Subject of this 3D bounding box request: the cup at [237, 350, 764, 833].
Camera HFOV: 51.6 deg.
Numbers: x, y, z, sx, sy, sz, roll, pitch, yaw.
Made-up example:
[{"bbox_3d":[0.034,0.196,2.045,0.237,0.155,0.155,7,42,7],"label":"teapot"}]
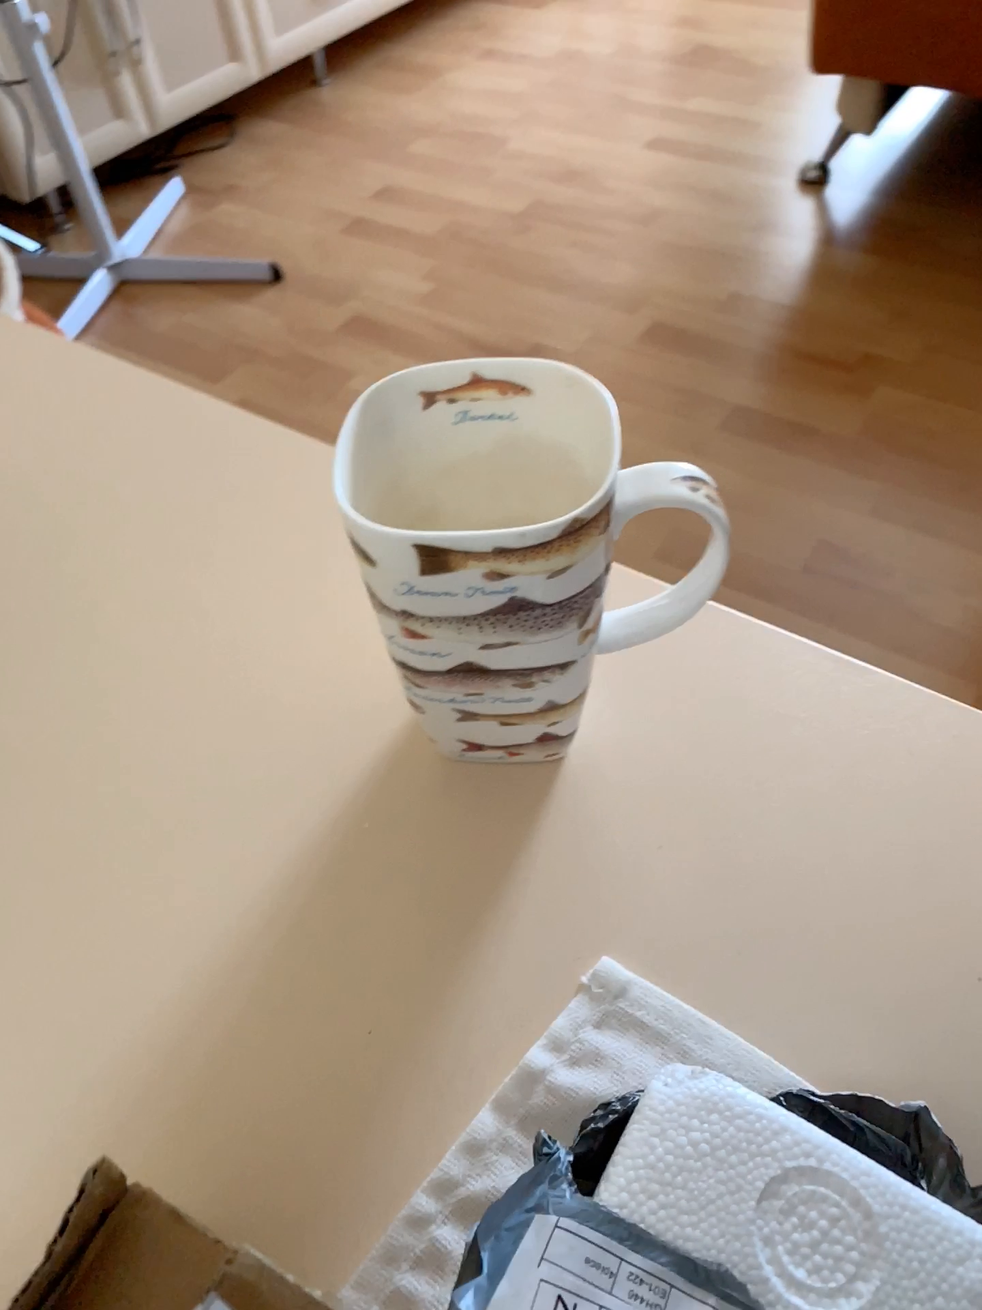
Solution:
[{"bbox_3d":[0.009,-0.018,0.350,0.140,0.129,0.101,0,49,6],"label":"cup"}]
